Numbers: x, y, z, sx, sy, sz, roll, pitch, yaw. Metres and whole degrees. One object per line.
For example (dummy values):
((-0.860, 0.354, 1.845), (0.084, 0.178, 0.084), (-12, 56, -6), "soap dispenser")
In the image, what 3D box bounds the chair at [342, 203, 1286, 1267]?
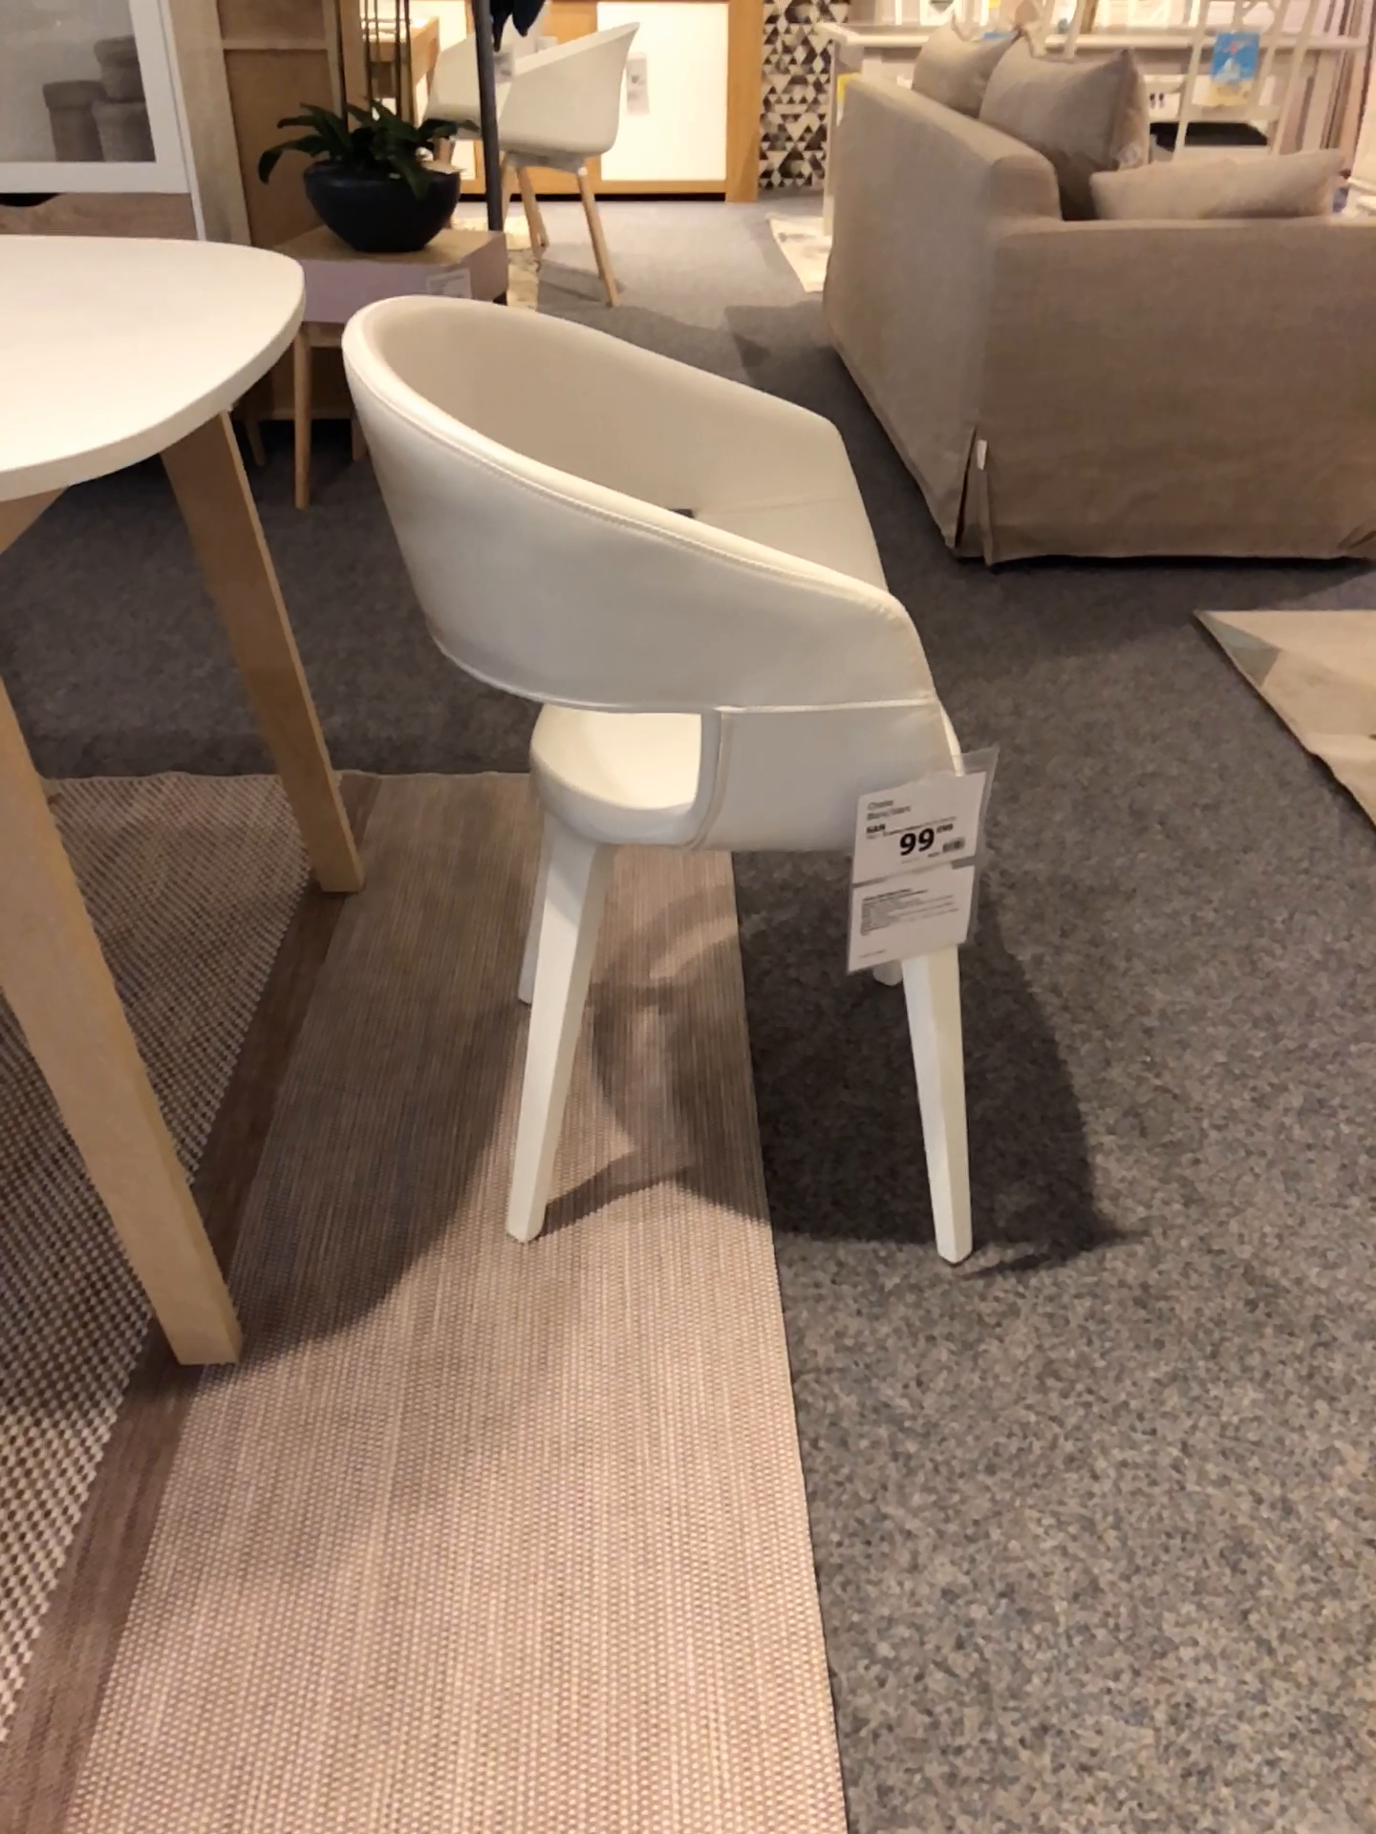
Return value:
((0.065, -0.172, 1.324), (0.560, 0.755, 0.553), (-1, 33, -2), "chair")
